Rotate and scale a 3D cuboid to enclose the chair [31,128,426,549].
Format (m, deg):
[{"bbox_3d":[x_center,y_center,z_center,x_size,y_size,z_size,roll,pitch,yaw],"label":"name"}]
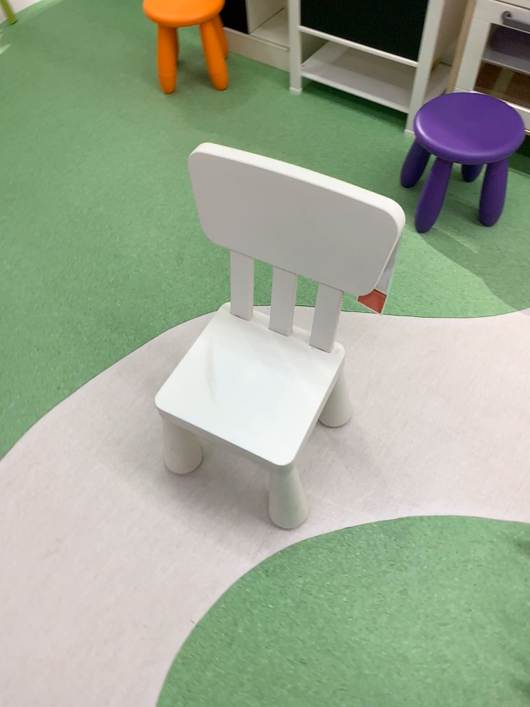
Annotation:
[{"bbox_3d":[-0.024,0.005,1.046,0.421,0.599,0.440,23,61,18],"label":"chair"}]
